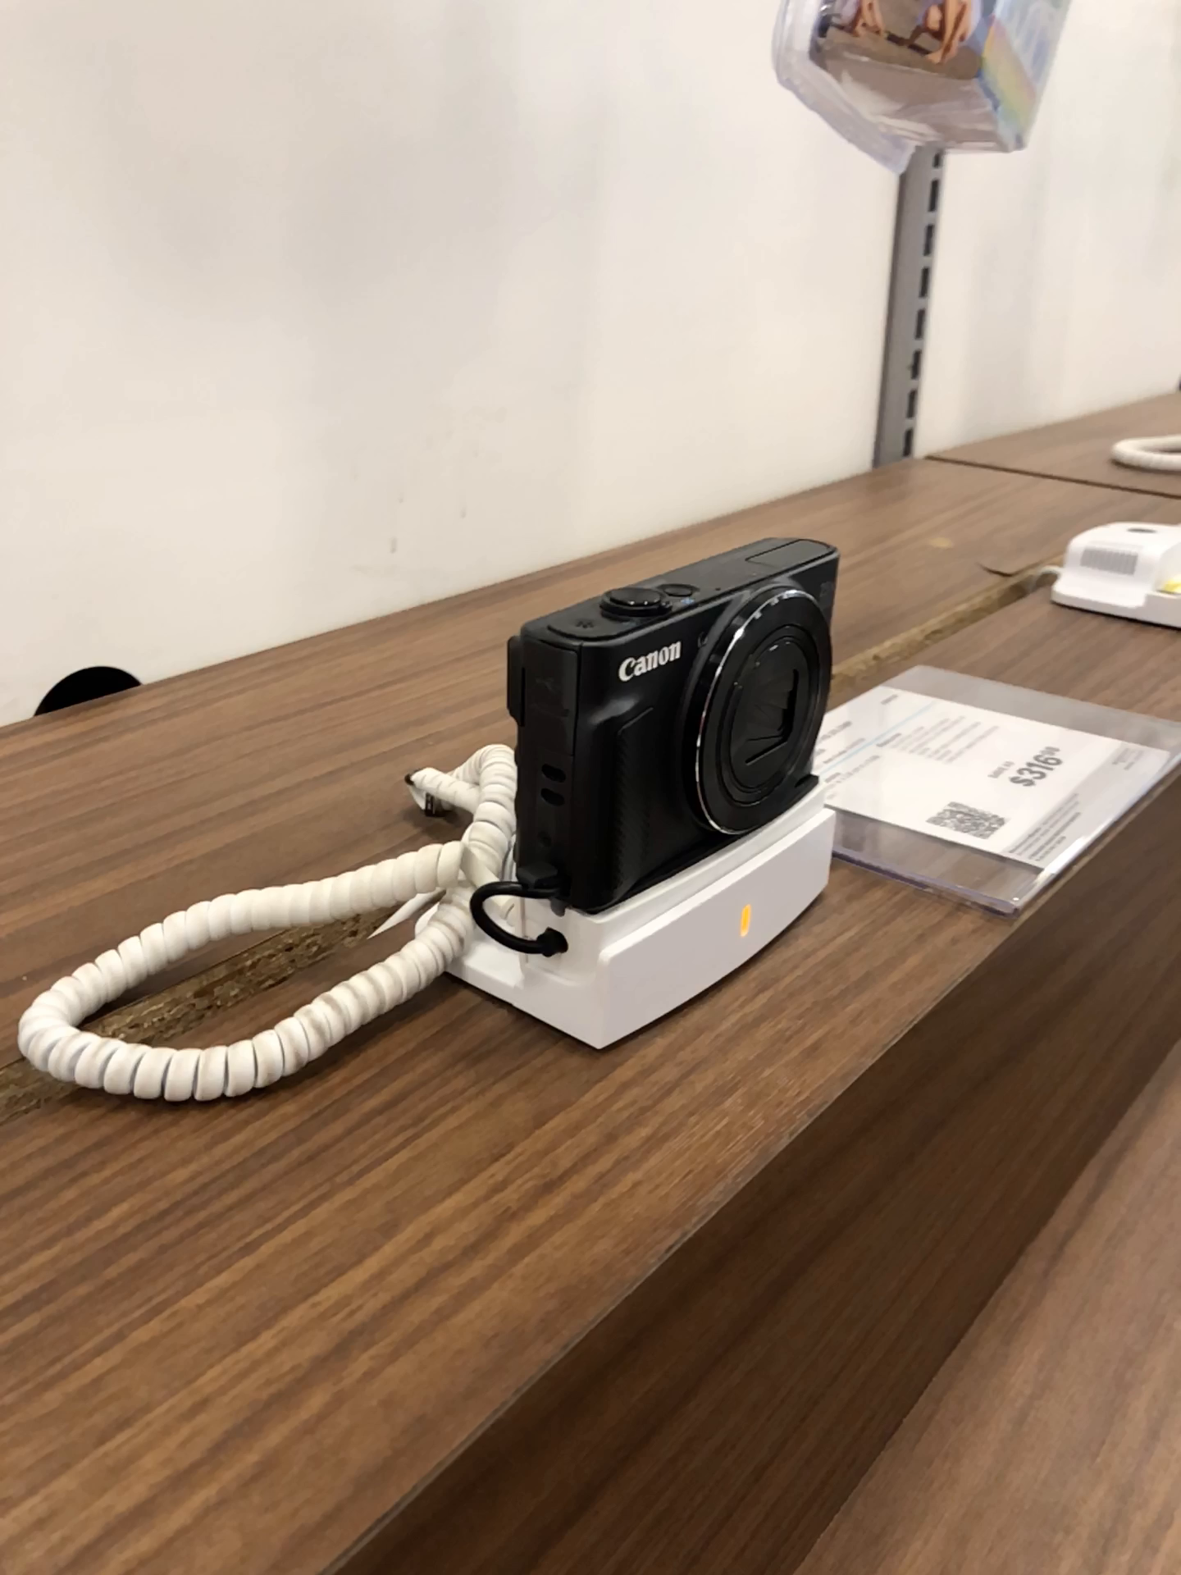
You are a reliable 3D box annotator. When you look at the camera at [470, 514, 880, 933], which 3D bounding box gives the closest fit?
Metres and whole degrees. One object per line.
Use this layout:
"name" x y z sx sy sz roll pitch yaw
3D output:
"camera" 0.021 -0.019 0.282 0.030 0.060 0.100 18 29 37
